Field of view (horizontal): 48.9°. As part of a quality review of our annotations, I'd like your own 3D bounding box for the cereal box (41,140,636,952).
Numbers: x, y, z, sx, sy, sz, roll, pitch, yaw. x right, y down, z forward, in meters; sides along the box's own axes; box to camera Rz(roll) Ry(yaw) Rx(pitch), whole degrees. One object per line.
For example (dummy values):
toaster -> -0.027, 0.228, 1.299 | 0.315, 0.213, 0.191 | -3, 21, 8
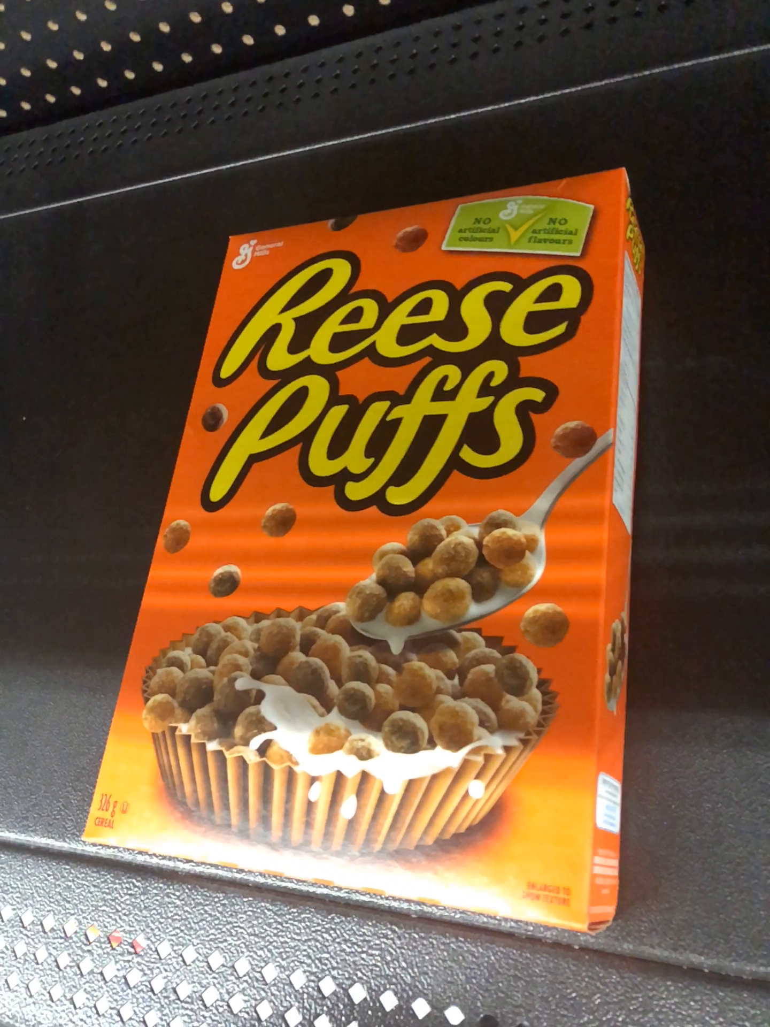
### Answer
cereal box -> -0.009, -0.002, 0.349 | 0.200, 0.050, 0.291 | -1, 68, 25
